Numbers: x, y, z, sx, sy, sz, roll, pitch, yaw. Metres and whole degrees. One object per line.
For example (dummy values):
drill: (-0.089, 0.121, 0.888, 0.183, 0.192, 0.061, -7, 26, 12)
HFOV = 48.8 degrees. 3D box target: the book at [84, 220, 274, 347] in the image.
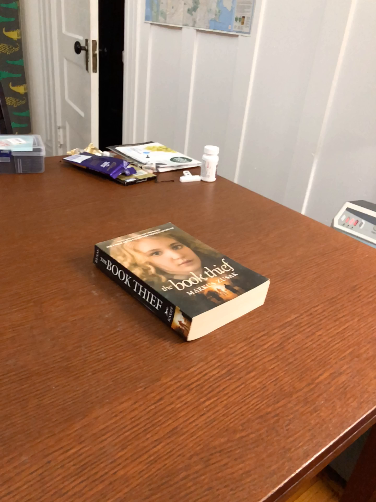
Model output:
book: (-0.019, 0.027, 0.565, 0.150, 0.030, 0.221, -19, 37, -38)
